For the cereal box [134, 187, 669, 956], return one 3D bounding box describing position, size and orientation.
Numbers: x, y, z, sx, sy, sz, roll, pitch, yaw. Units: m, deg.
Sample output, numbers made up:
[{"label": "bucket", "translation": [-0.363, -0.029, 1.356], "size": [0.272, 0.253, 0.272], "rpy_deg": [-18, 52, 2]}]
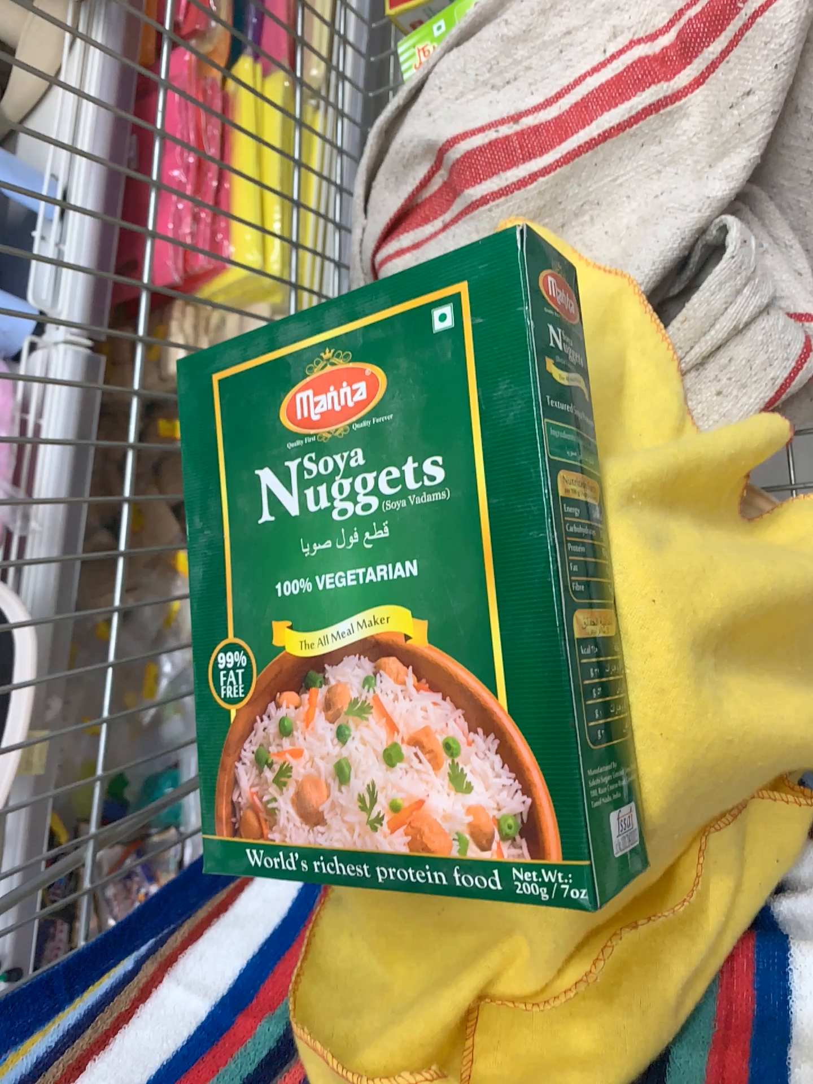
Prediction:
[{"label": "cereal box", "translation": [-0.012, 0.015, 0.286], "size": [0.161, 0.060, 0.200], "rpy_deg": [-10, 81, 34]}]
